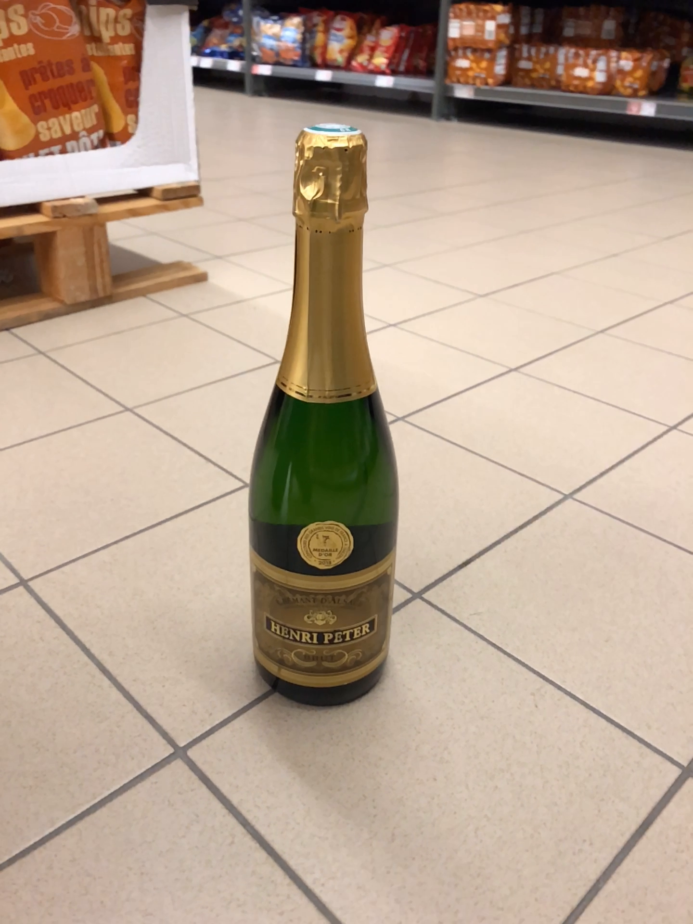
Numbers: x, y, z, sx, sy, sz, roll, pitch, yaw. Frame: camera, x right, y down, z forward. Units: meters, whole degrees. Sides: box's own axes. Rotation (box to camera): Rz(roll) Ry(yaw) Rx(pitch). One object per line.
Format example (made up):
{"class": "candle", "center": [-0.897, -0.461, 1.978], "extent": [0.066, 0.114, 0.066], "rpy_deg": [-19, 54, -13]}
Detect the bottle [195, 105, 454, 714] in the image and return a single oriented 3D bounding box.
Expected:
{"class": "bottle", "center": [-0.009, -0.017, 0.412], "extent": [0.100, 0.308, 0.101], "rpy_deg": [1, 29, -1]}
